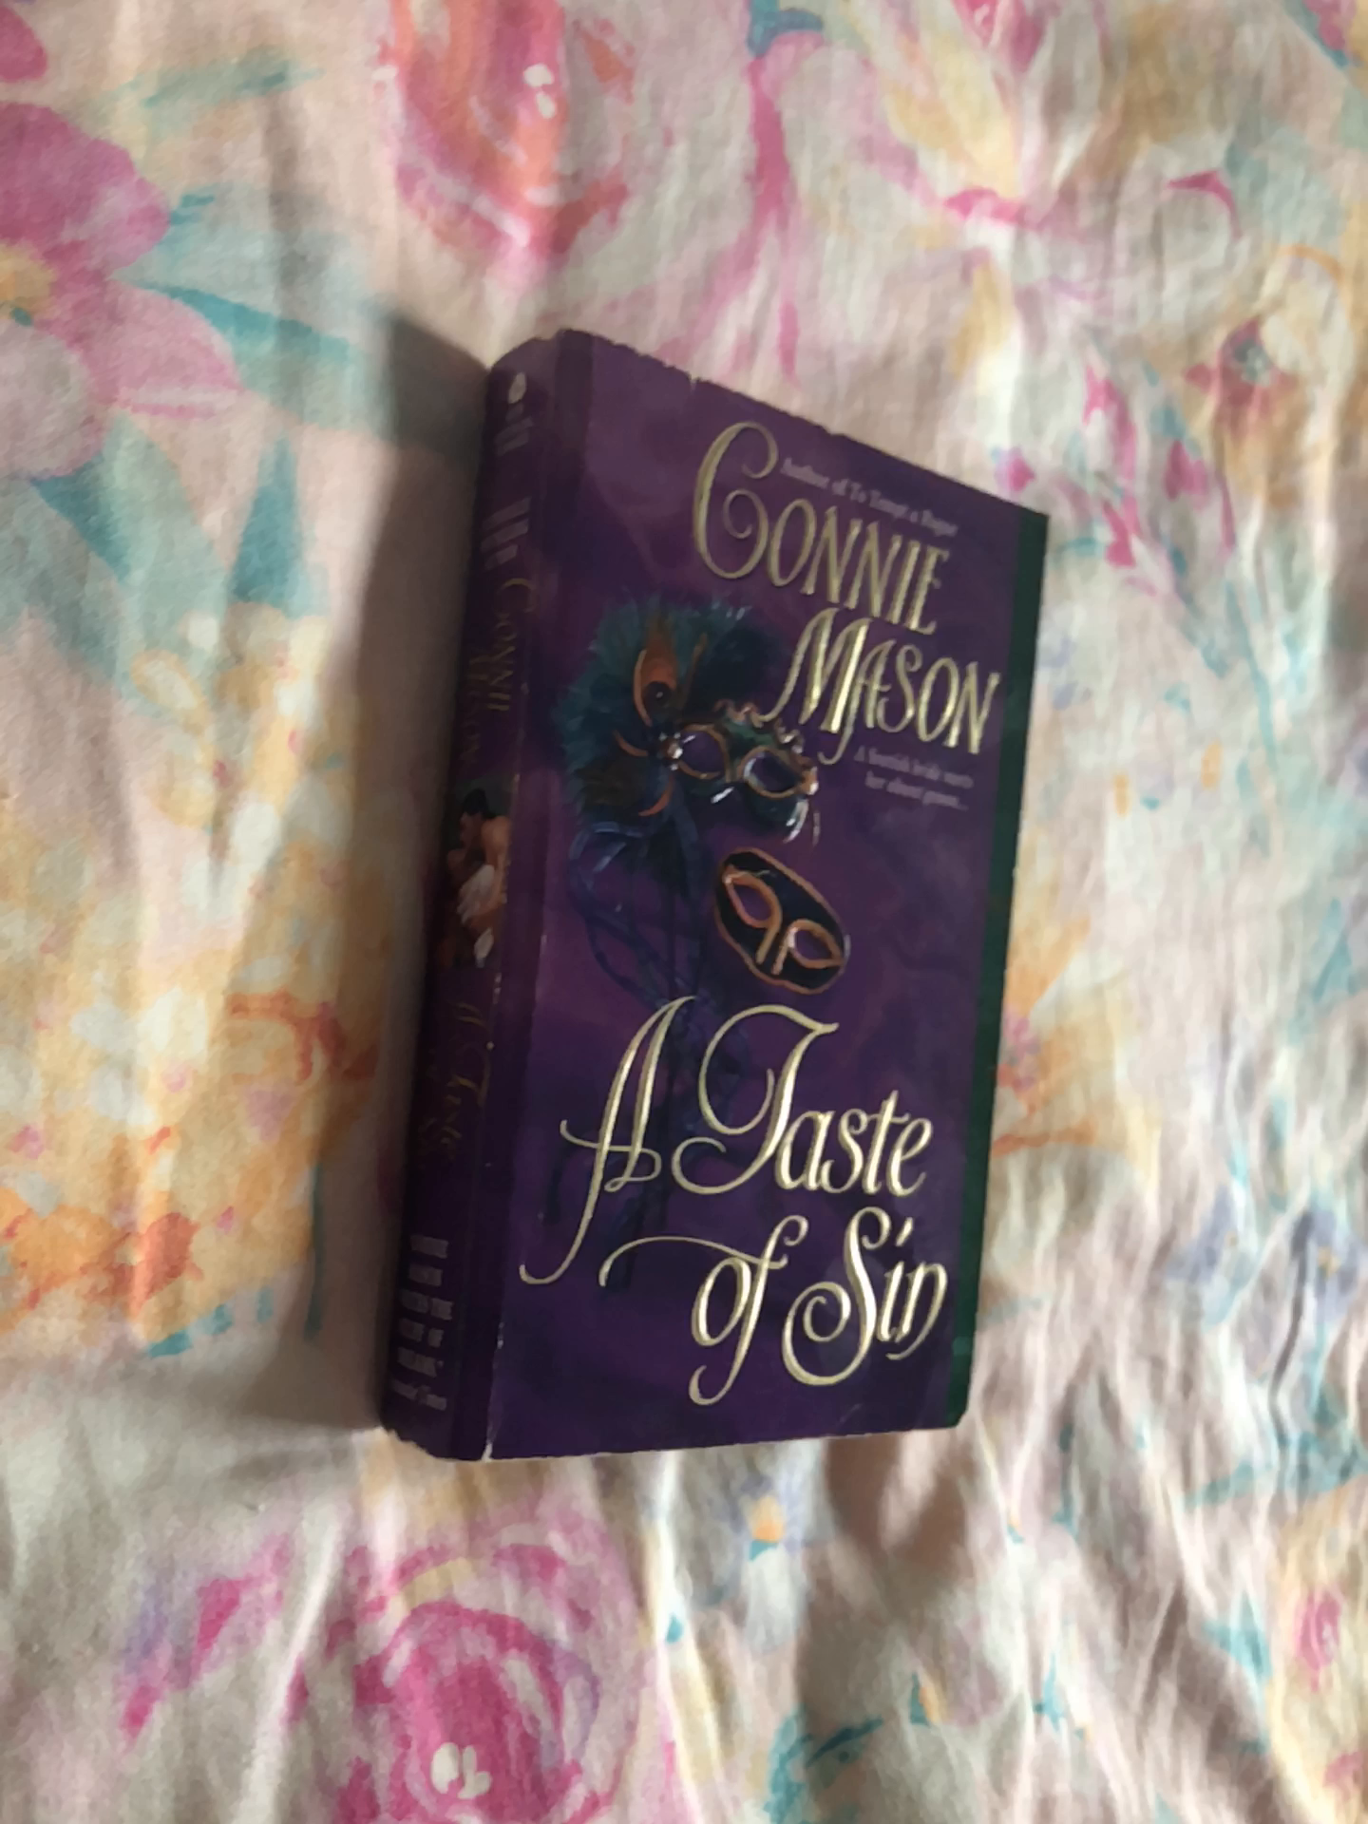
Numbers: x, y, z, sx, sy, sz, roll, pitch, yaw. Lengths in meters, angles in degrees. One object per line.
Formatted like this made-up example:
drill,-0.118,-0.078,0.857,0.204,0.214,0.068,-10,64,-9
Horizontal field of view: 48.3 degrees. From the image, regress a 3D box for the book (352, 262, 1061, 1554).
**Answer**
book,0.011,0.003,0.264,0.120,0.040,0.180,10,77,-41
